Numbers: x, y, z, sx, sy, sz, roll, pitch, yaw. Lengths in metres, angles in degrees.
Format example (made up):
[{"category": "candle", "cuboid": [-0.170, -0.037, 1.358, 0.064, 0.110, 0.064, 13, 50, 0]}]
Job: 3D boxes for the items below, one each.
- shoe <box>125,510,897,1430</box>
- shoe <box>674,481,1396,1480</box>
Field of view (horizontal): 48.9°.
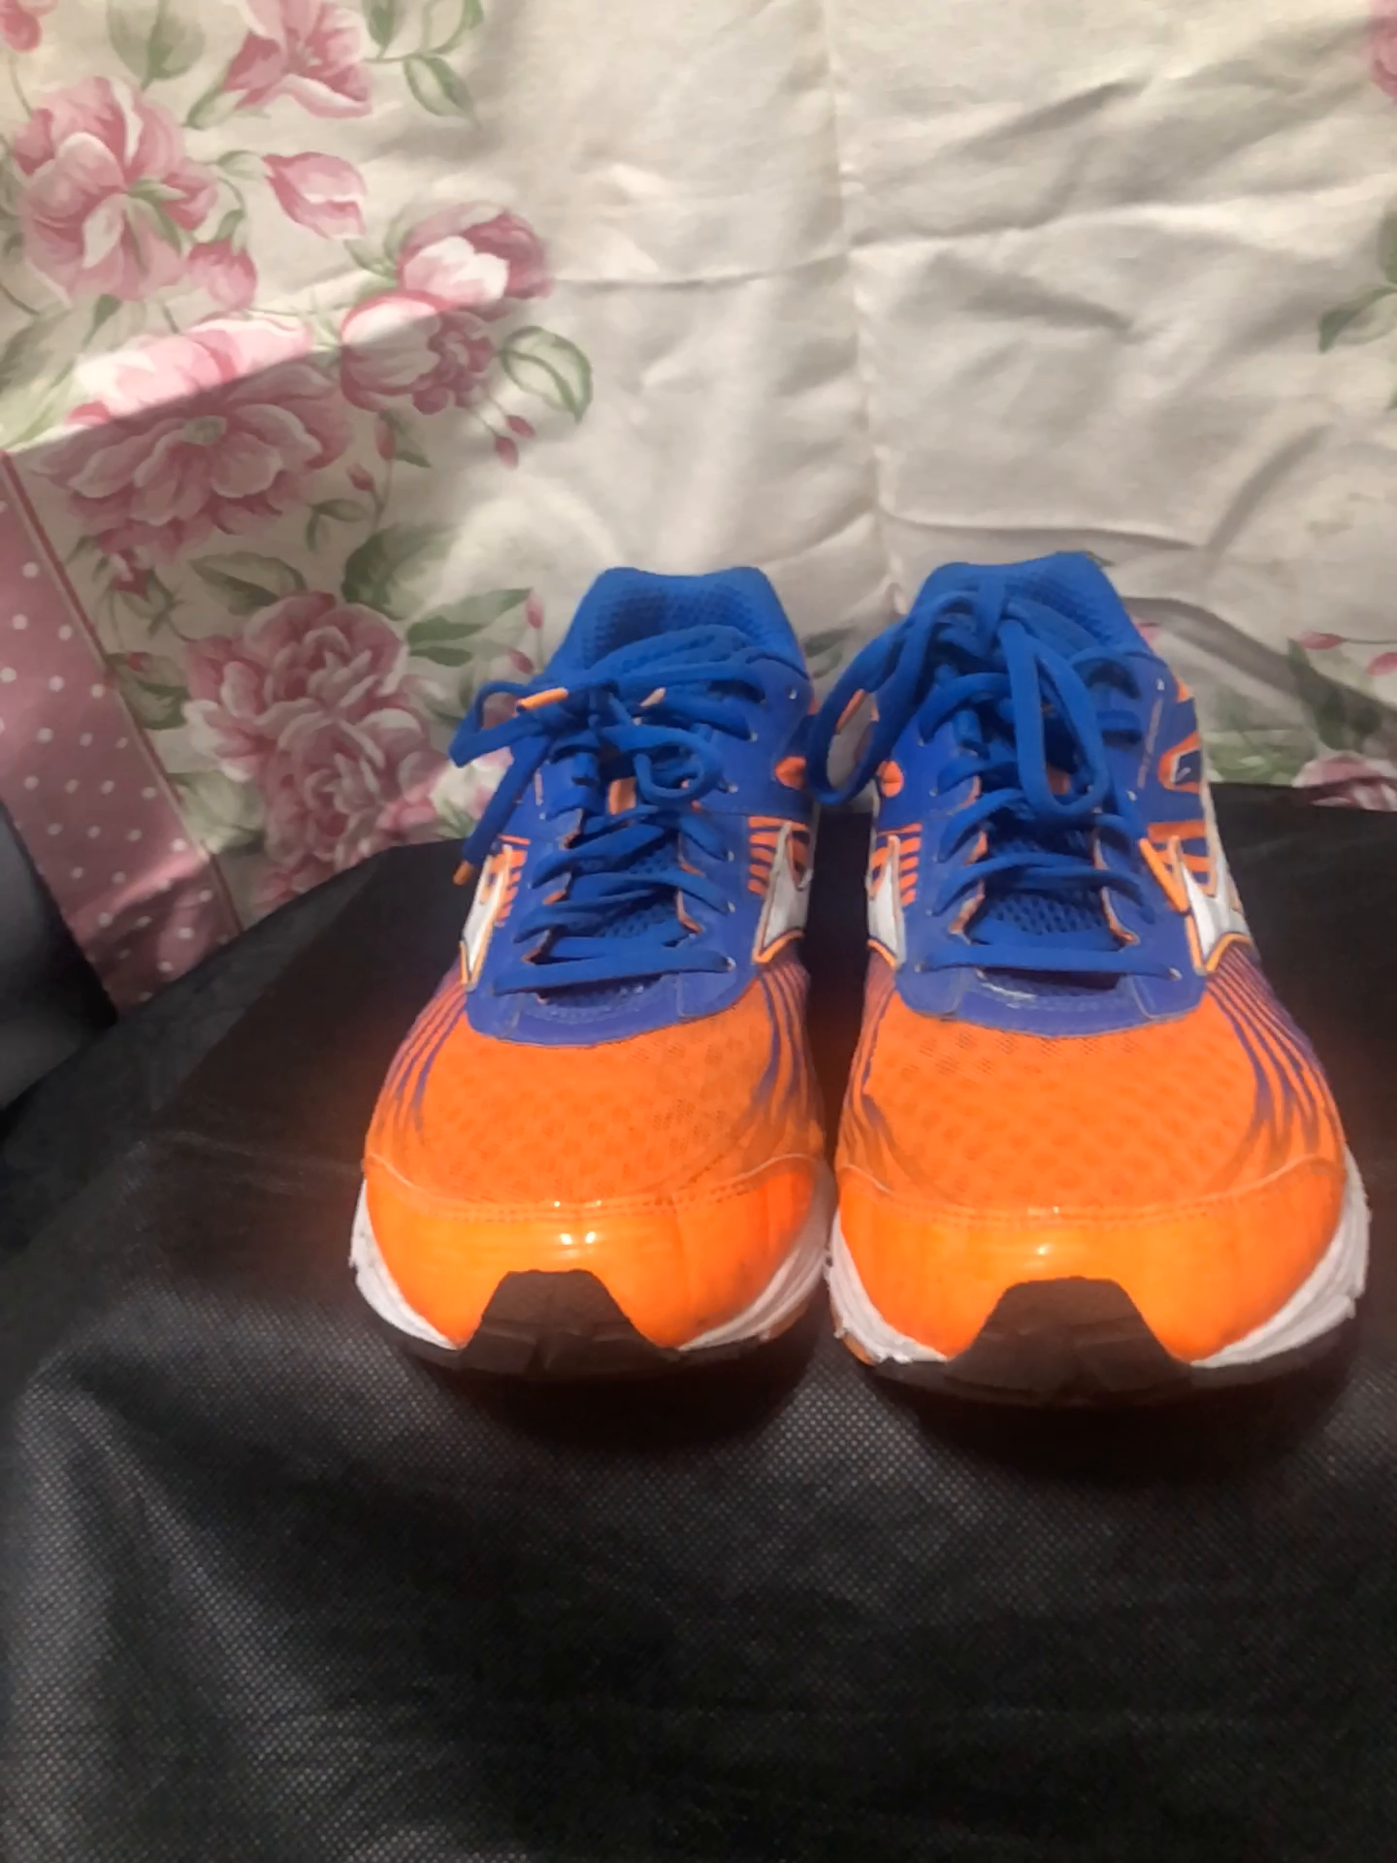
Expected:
[{"category": "shoe", "cuboid": [-0.014, -0.013, 0.347, 0.110, 0.109, 0.222, -1, 27, 9]}, {"category": "shoe", "cuboid": [0.070, -0.013, 0.322, 0.110, 0.109, 0.222, -1, 27, 9]}]
